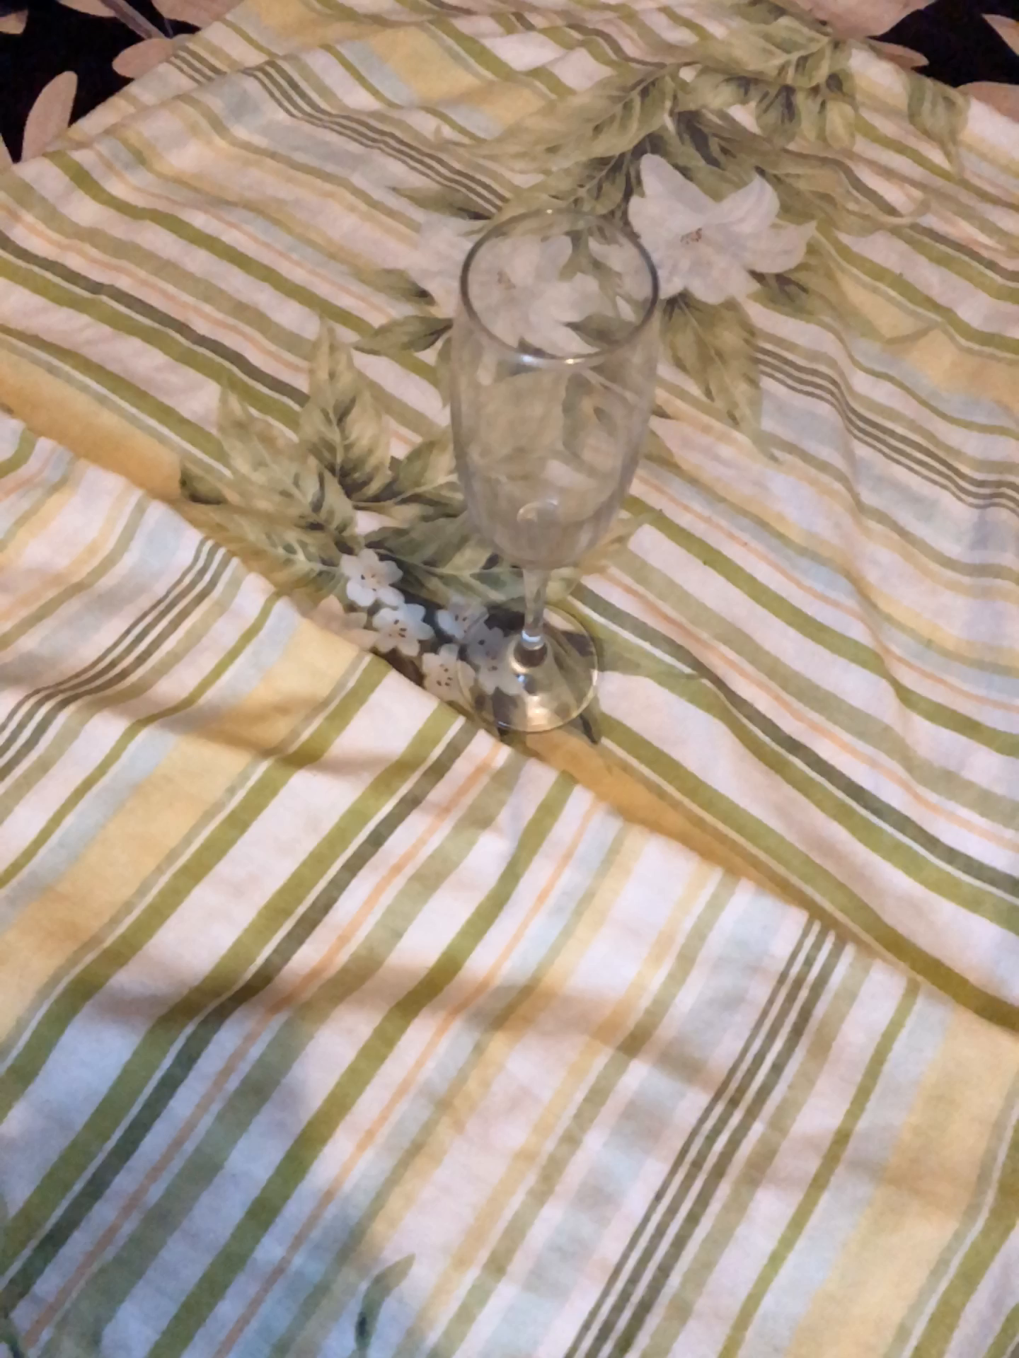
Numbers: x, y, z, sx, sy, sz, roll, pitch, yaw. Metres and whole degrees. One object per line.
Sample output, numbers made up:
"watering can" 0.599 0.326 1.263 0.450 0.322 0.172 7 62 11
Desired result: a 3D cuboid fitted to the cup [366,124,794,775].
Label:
"cup" 0.013 -0.057 0.382 0.082 0.218 0.071 -33 70 -18
